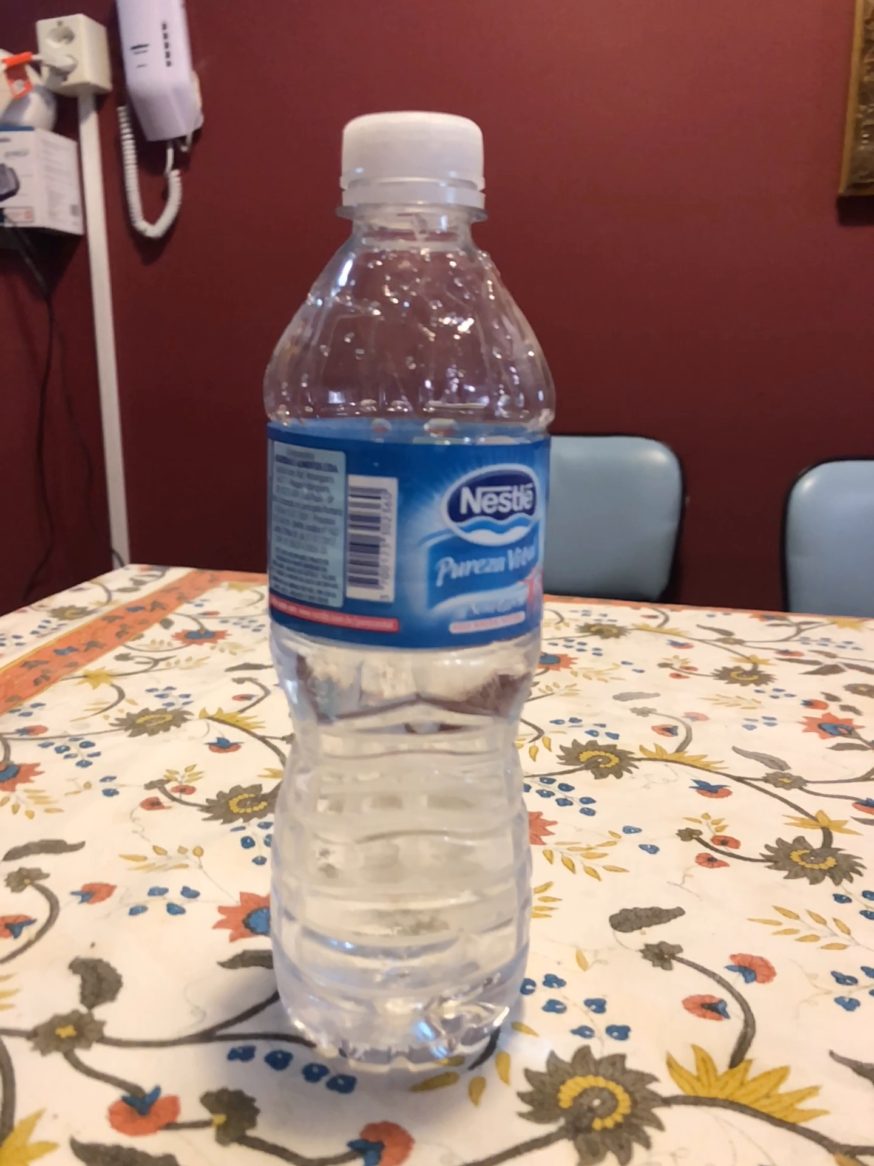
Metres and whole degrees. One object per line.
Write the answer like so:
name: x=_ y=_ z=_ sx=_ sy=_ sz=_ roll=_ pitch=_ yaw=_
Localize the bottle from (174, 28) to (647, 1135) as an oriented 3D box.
bottle: x=-0.006 y=0.001 z=0.207 sx=0.060 sy=0.189 sz=0.070 roll=-11 pitch=17 yaw=-40
